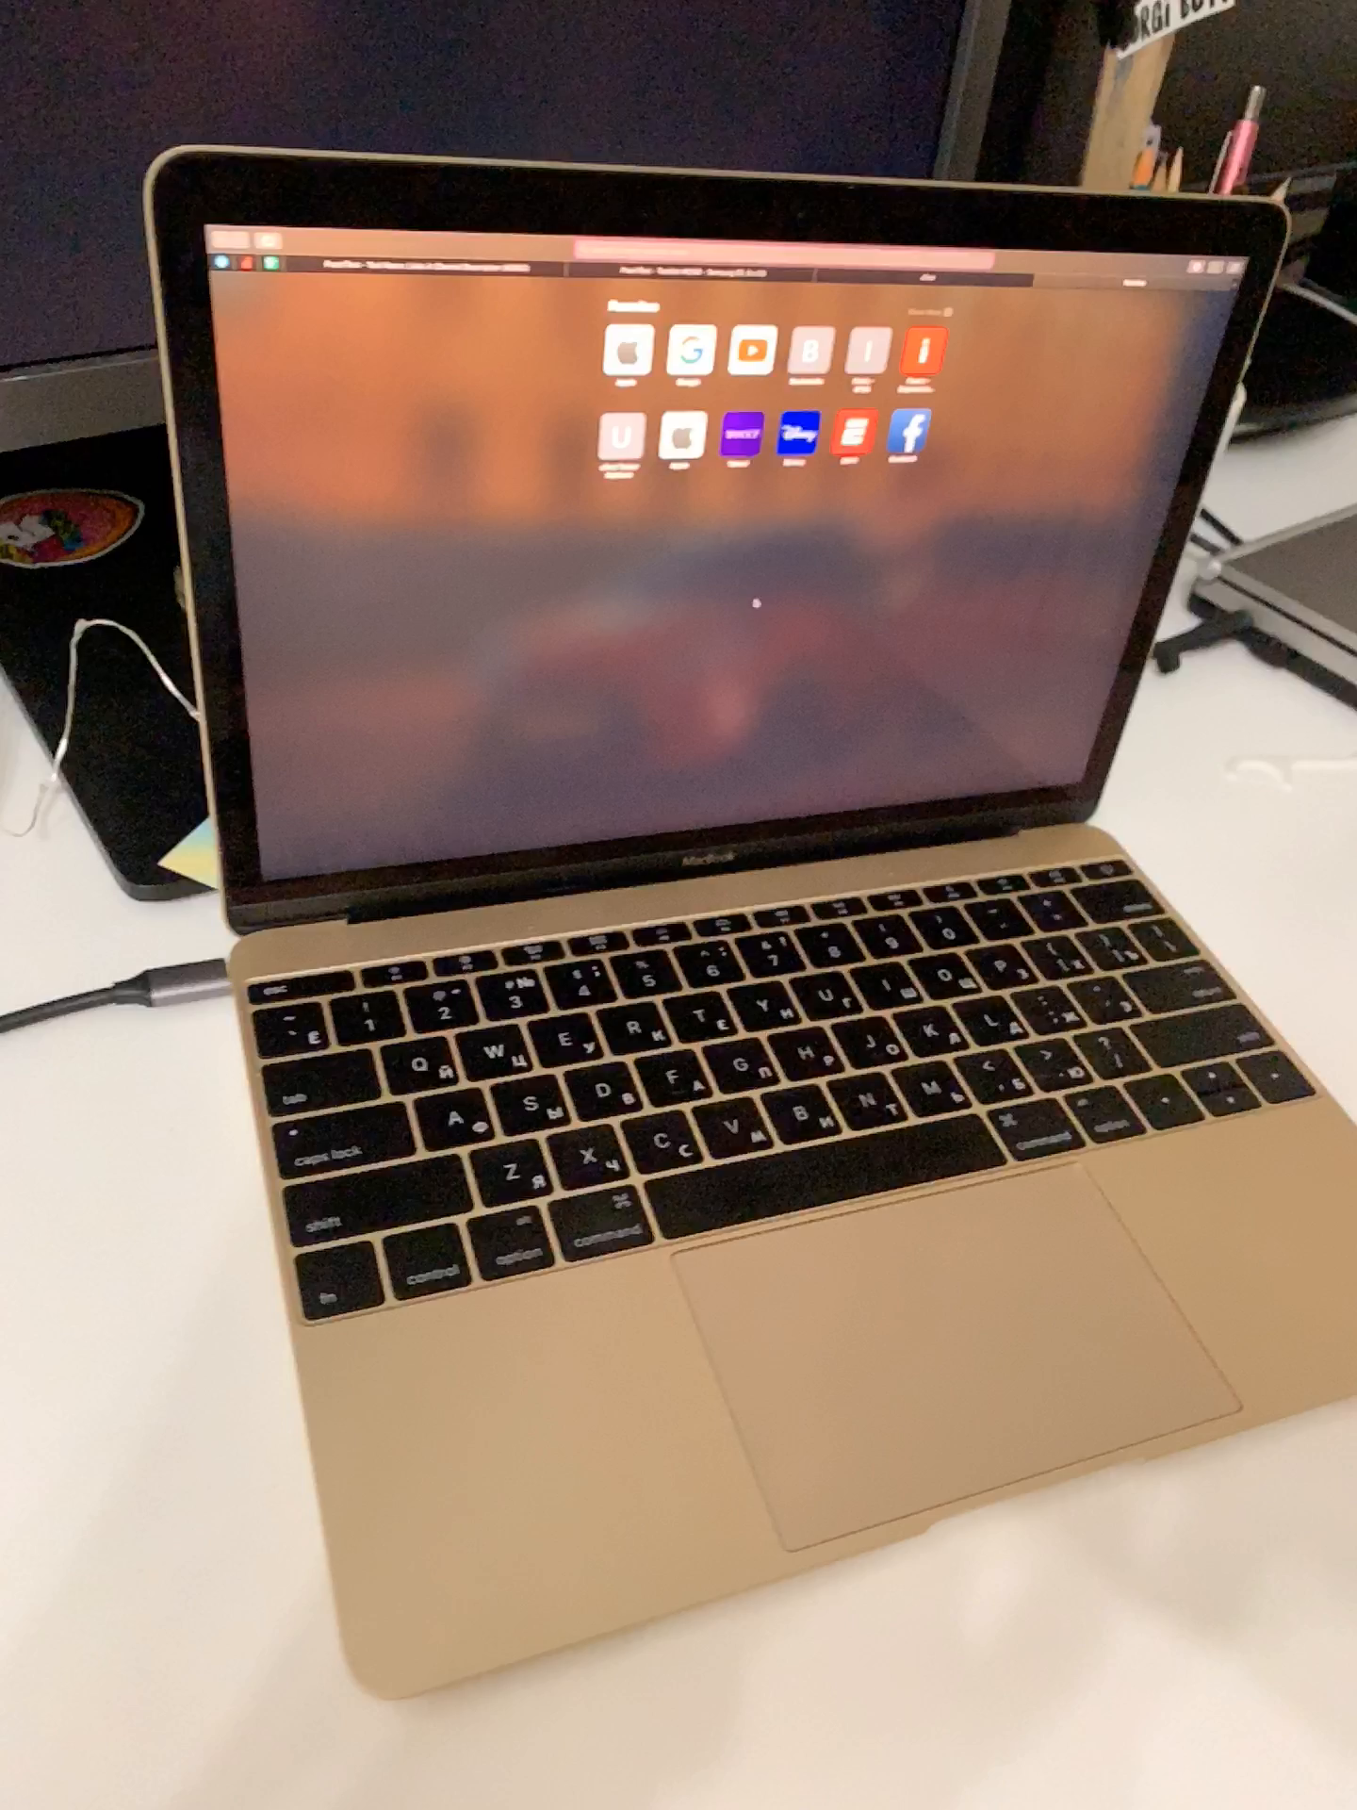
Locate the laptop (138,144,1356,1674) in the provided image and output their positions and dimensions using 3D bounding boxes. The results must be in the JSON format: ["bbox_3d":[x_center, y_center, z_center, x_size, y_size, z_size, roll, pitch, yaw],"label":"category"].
[{"bbox_3d":[0.044,-0.022,0.276,0.247,0.169,0.198,-8,44,-20],"label":"laptop"}]
